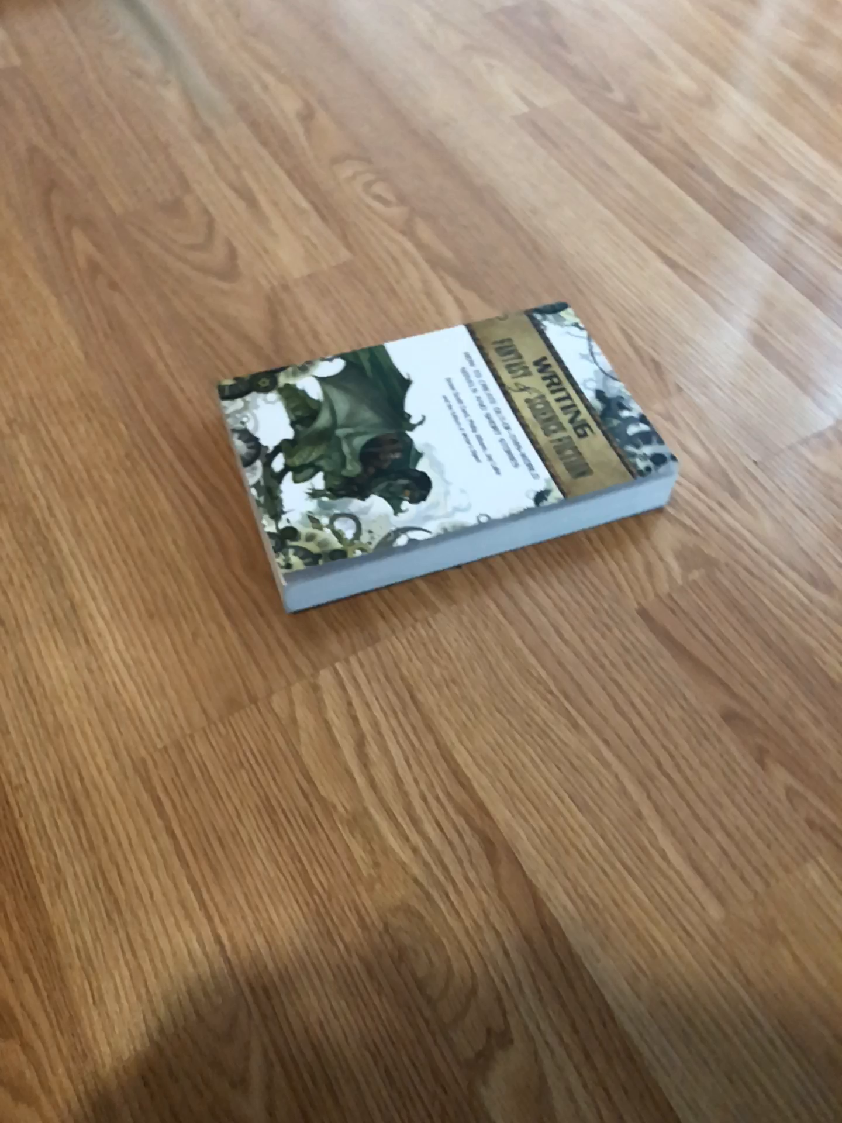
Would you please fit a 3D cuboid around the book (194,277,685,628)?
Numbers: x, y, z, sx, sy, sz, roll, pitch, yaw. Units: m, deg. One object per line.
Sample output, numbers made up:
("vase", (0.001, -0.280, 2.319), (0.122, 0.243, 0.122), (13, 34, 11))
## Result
("book", (0.005, -0.072, 0.534), (0.228, 0.040, 0.165), (-16, 58, -13))
